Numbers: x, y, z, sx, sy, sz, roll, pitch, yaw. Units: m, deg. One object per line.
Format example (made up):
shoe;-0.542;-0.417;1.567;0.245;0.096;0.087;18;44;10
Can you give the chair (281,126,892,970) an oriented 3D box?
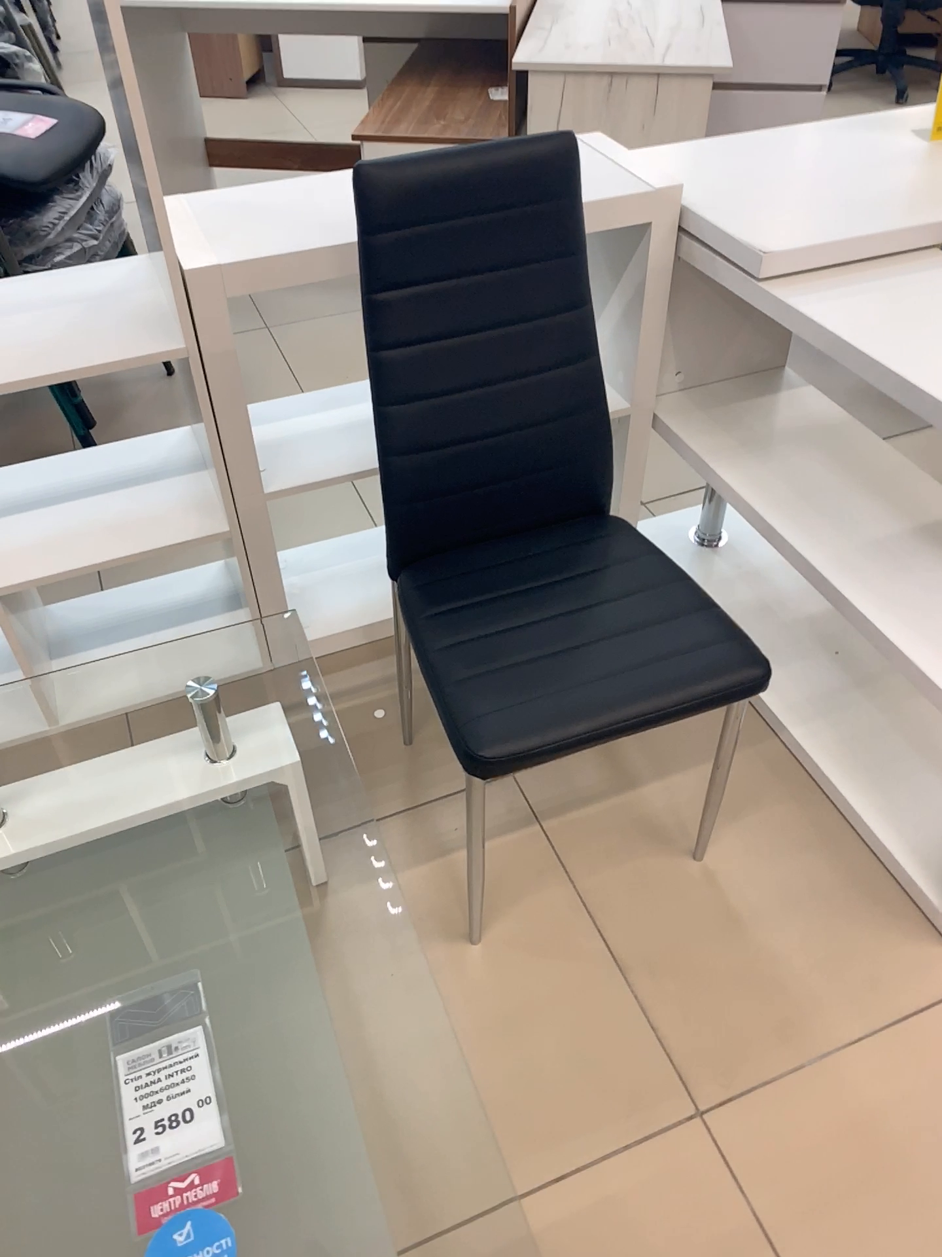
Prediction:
chair;0.087;-0.092;1.331;0.440;0.916;0.603;-15;43;-13
